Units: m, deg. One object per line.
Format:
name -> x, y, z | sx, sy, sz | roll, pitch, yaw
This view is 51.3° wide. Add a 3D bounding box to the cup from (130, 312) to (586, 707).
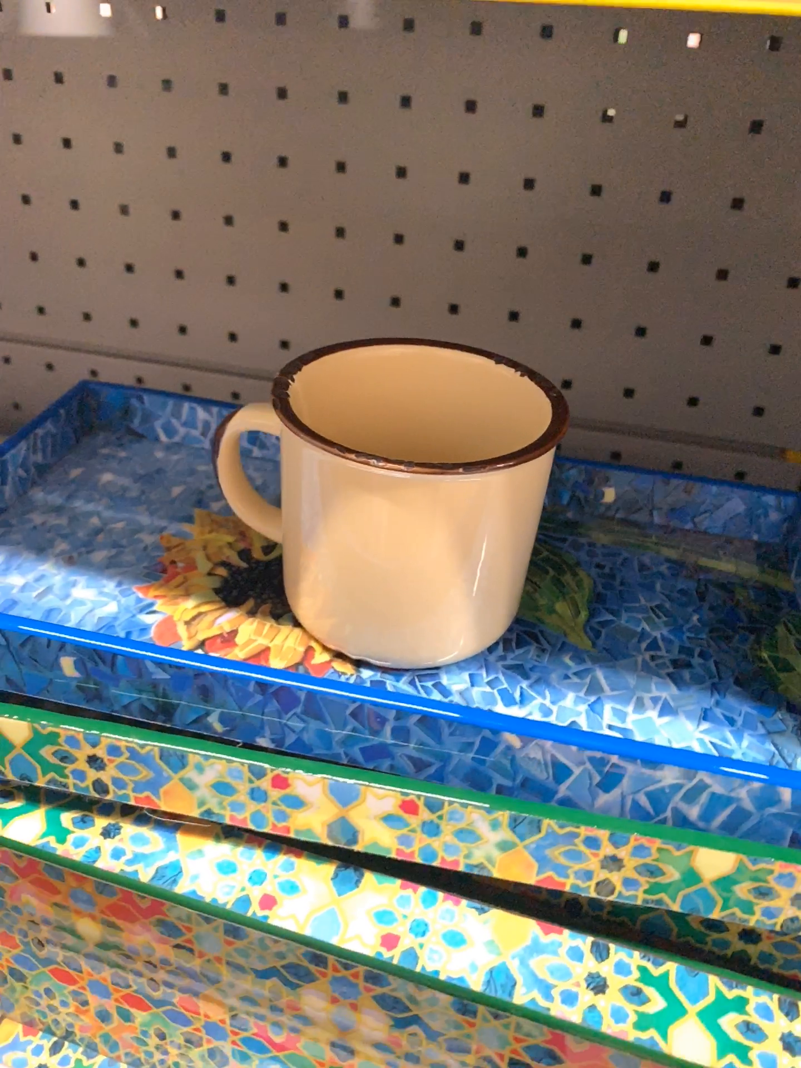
cup -> -0.007, -0.015, 0.260 | 0.110, 0.070, 0.090 | 12, 31, 11
